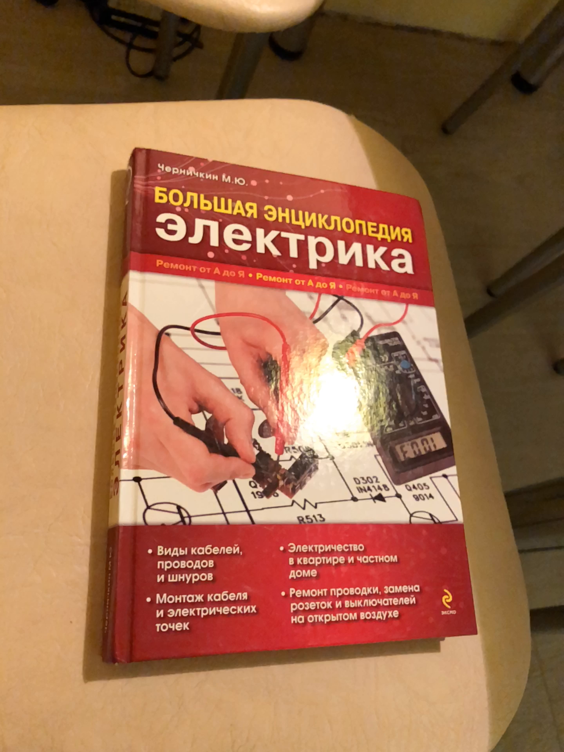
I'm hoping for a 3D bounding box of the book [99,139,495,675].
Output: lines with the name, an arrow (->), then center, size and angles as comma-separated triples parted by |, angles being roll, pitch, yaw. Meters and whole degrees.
book -> 0.007, 0.007, 0.311 | 0.173, 0.030, 0.241 | 4, 69, -19
